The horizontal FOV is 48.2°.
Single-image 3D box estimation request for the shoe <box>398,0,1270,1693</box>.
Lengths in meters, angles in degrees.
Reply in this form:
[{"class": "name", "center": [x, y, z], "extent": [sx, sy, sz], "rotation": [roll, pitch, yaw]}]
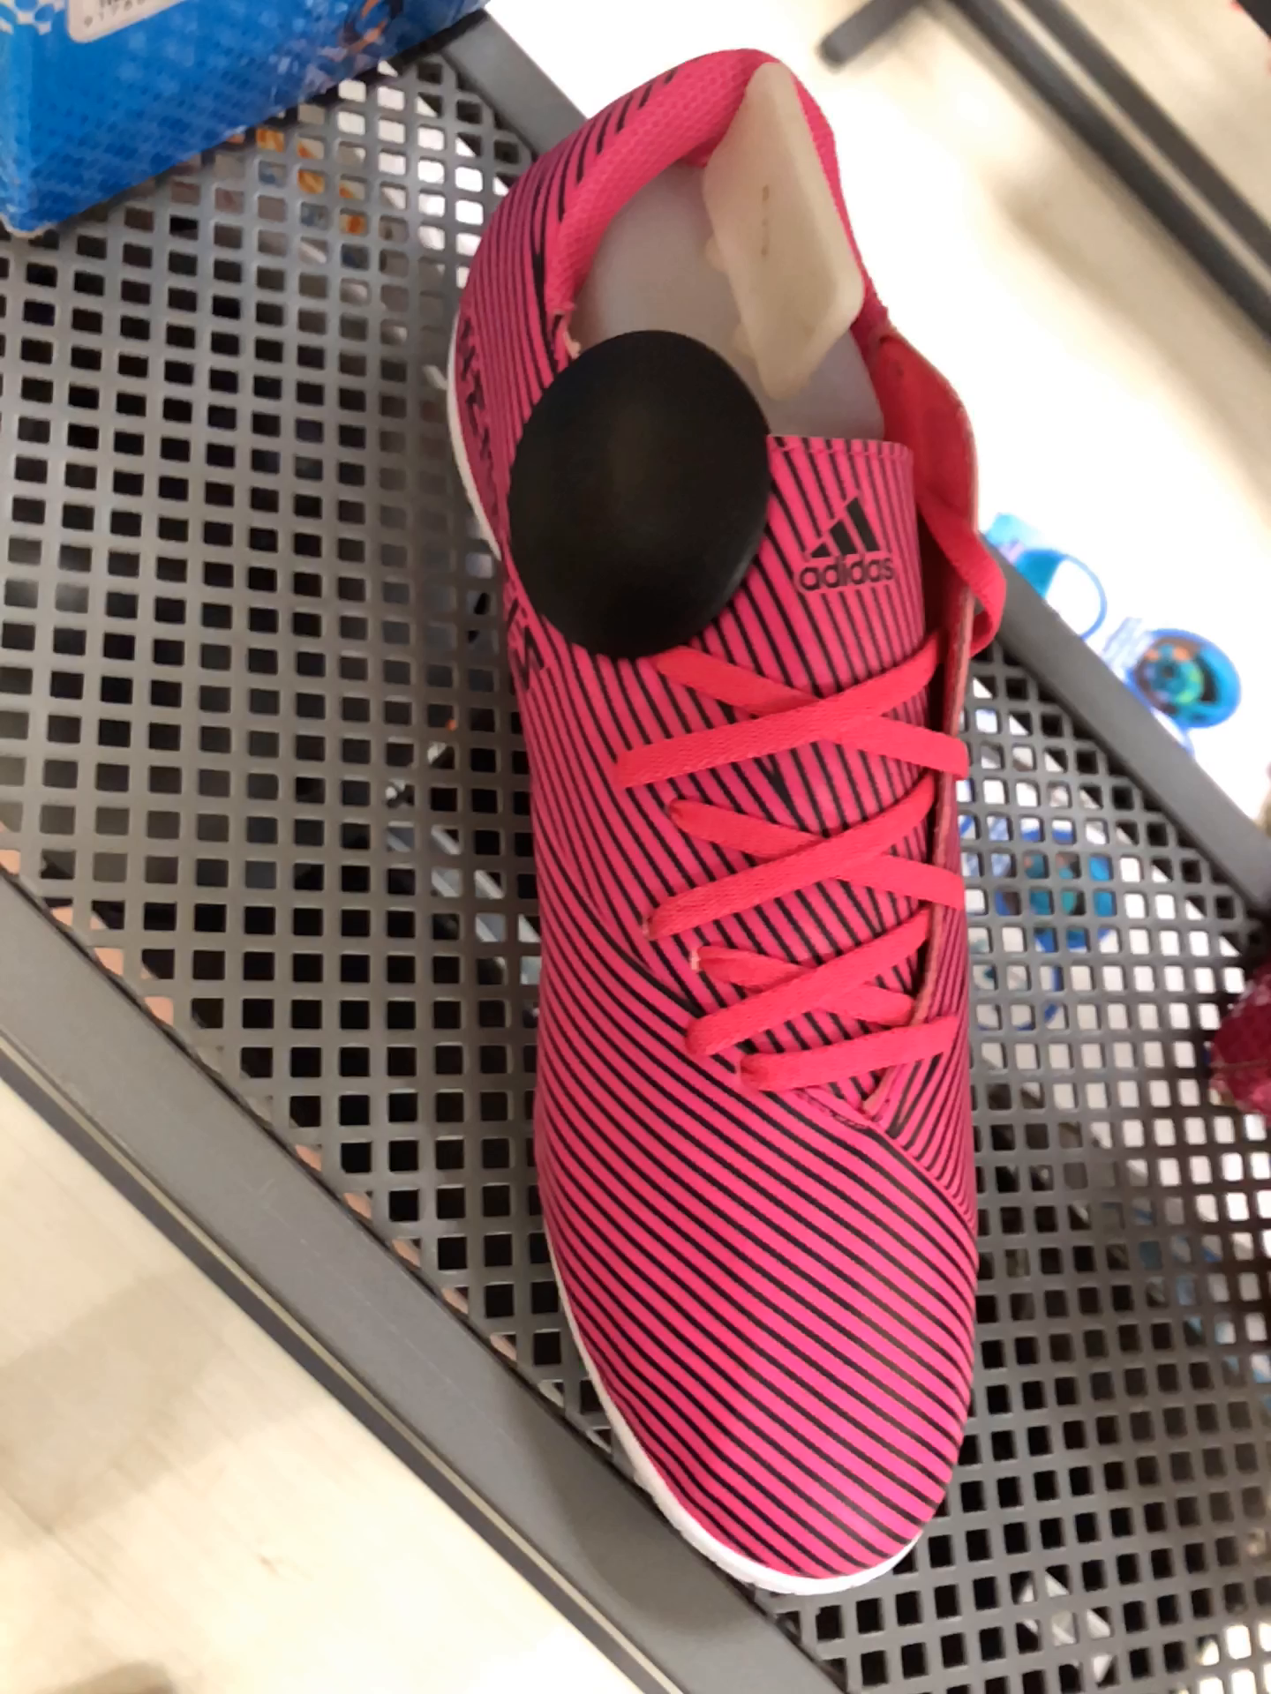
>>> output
[{"class": "shoe", "center": [0.025, -0.003, 0.249], "extent": [0.095, 0.100, 0.260], "rotation": [-3, 76, -20]}]
